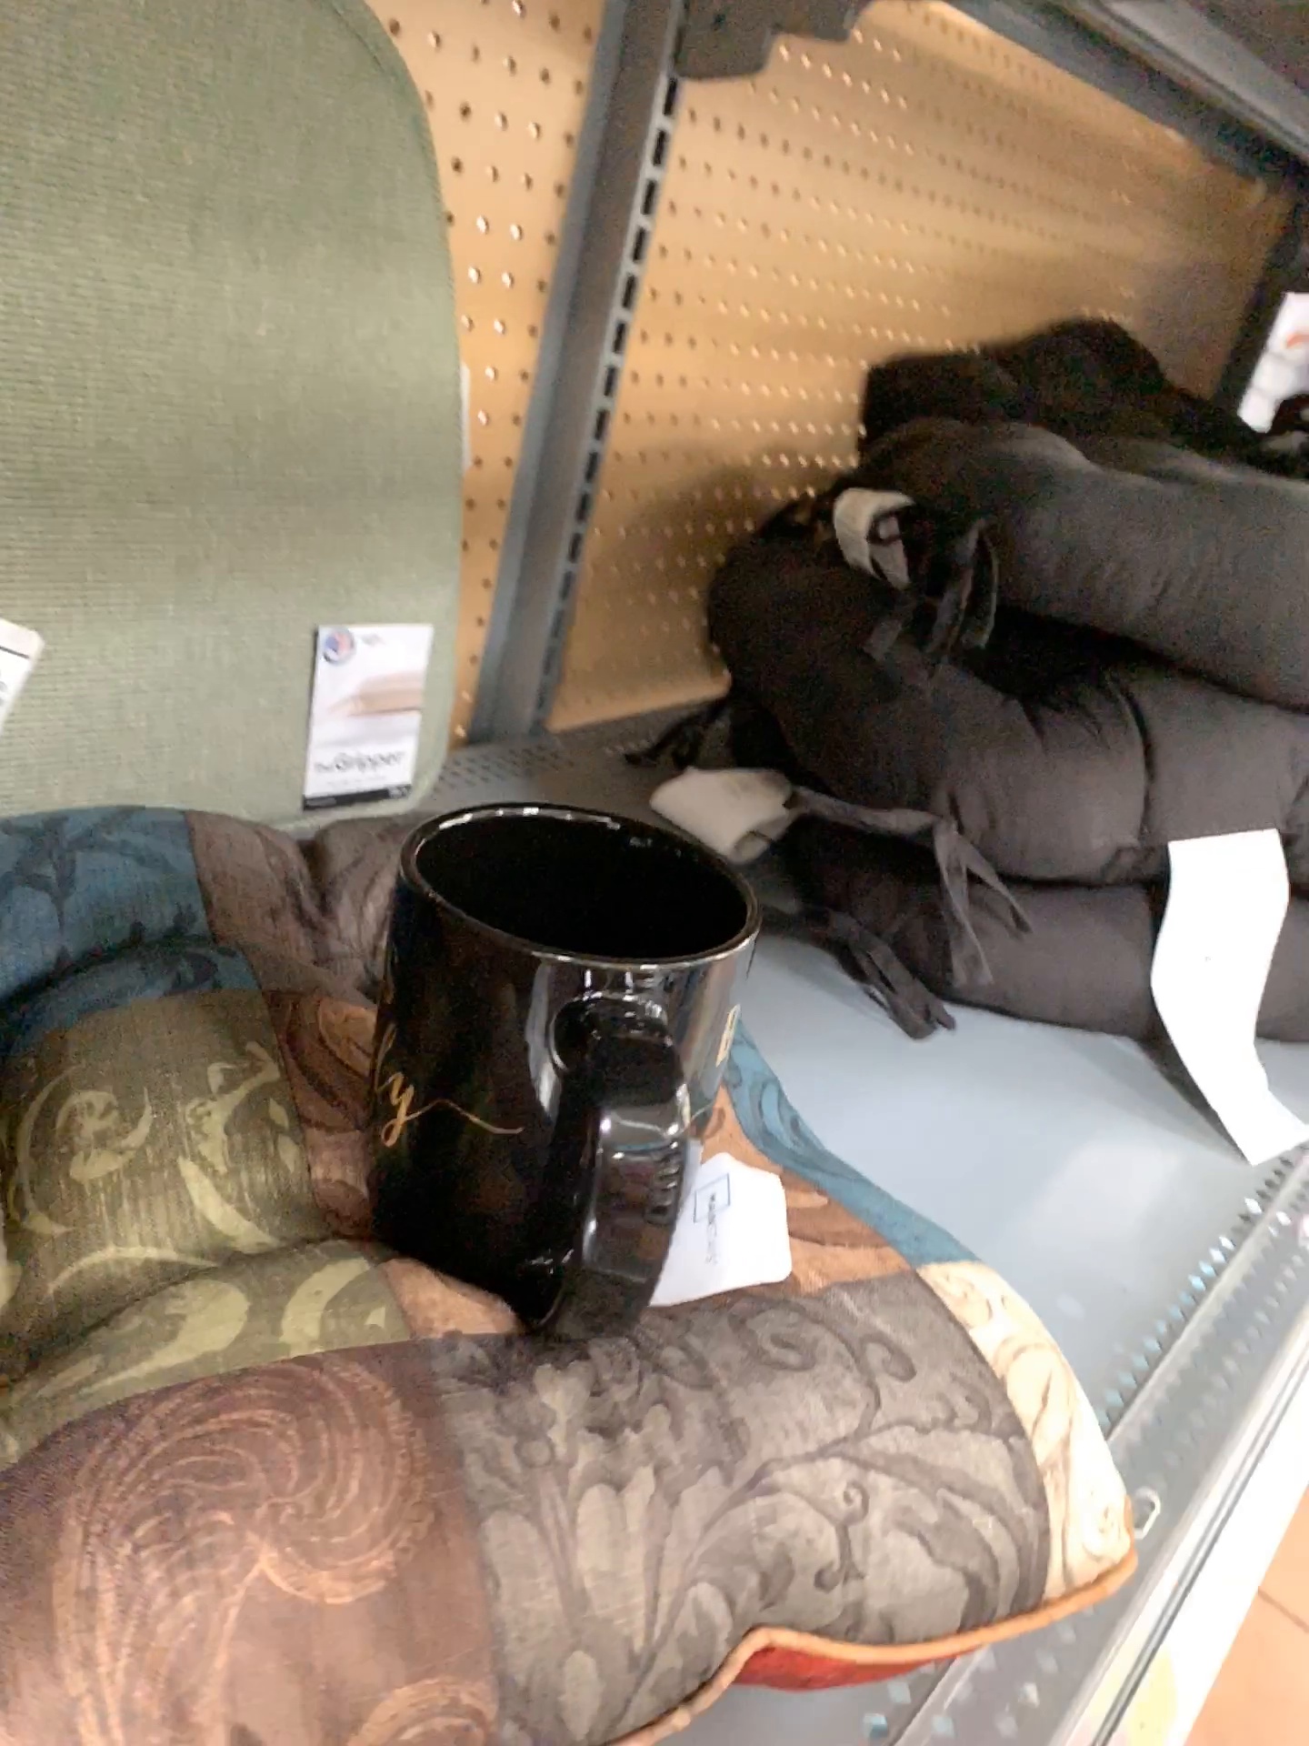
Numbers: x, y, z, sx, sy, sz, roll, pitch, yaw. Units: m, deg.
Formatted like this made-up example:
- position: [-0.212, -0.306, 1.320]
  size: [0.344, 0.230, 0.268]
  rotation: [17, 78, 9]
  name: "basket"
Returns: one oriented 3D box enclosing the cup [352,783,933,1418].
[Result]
- position: [-0.015, 0.049, 0.341]
  size: [0.100, 0.100, 0.130]
  rotation: [6, 18, -18]
  name: "cup"
